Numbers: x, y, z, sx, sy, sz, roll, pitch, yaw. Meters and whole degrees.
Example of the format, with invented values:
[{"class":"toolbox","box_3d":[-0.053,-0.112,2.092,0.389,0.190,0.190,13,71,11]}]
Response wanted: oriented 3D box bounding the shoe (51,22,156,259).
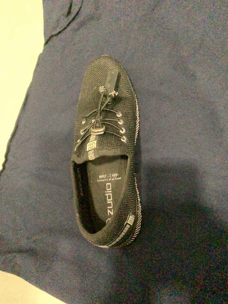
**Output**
[{"class":"shoe","box_3d":[-0.016,-0.013,0.336,0.100,0.090,0.290,-9,78,19]}]
